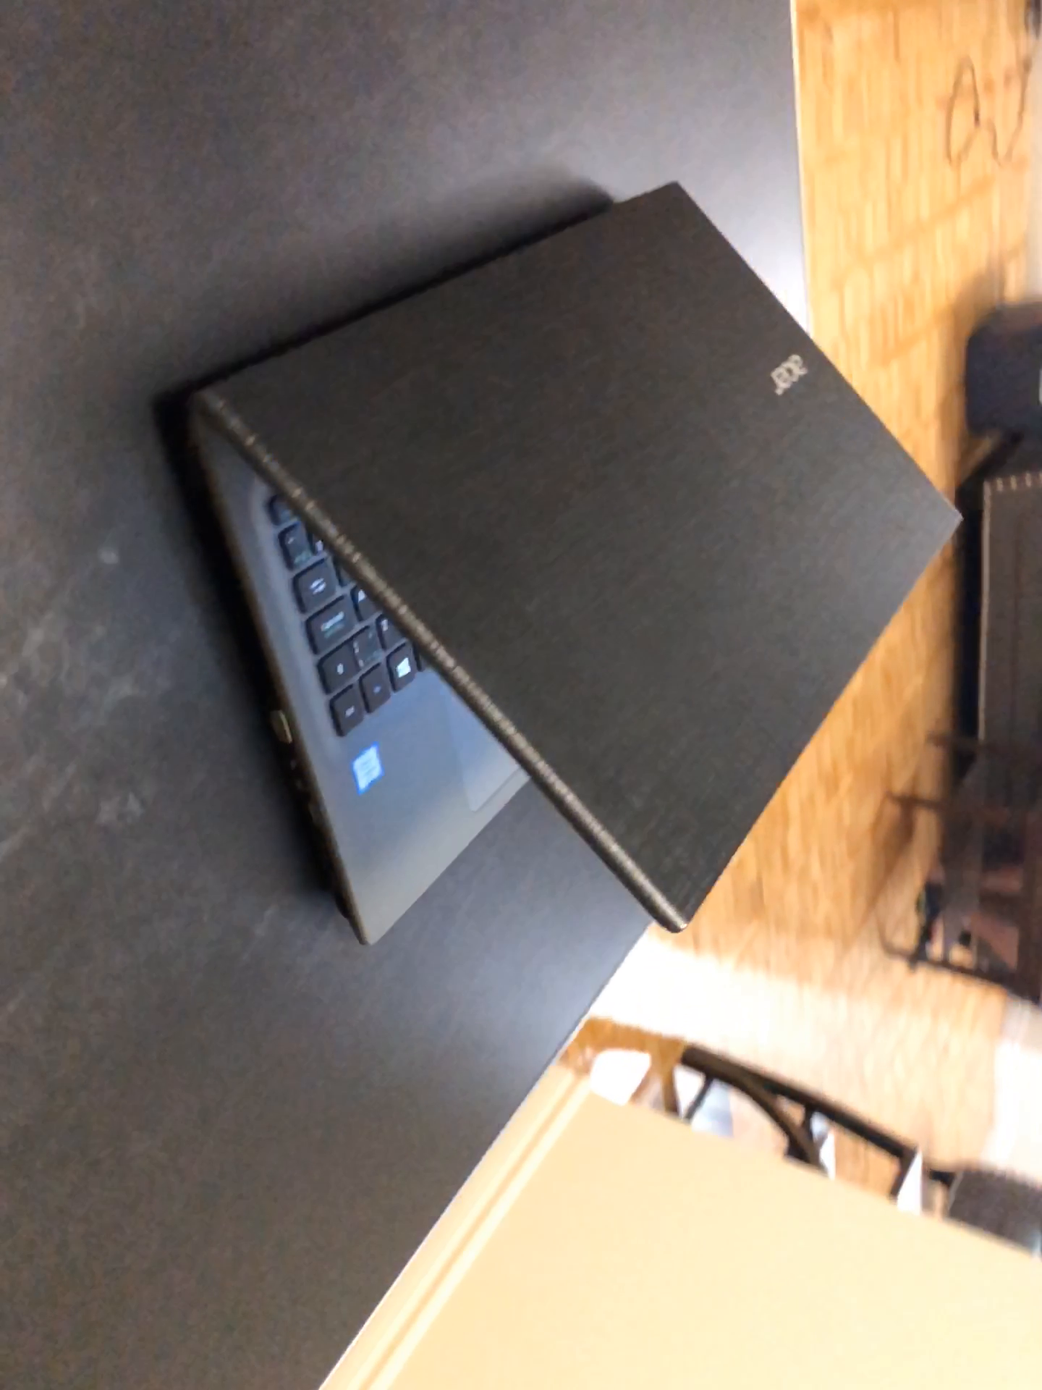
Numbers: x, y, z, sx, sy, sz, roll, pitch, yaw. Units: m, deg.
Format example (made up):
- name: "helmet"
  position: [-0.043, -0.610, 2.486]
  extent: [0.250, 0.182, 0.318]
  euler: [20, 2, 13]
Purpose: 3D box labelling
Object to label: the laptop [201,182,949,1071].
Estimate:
- name: "laptop"
  position: [0.072, -0.065, 0.547]
  extent: [0.370, 0.155, 0.251]
  euler: [-44, 133, -43]
